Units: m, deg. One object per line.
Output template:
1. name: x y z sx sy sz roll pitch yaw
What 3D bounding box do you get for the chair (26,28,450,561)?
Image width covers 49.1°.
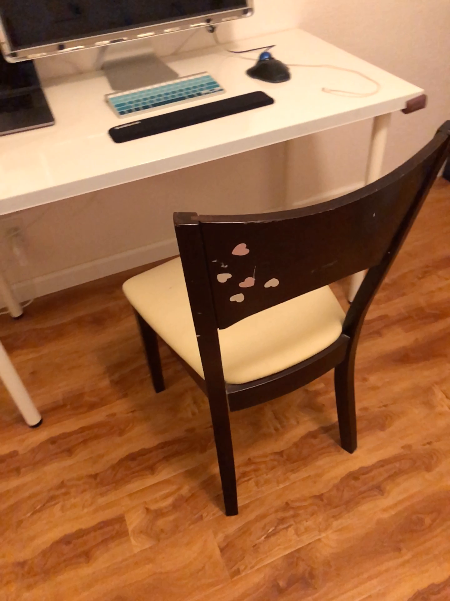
1. chair: 0.024 -0.017 1.143 0.571 0.885 0.663 -20 45 -16
